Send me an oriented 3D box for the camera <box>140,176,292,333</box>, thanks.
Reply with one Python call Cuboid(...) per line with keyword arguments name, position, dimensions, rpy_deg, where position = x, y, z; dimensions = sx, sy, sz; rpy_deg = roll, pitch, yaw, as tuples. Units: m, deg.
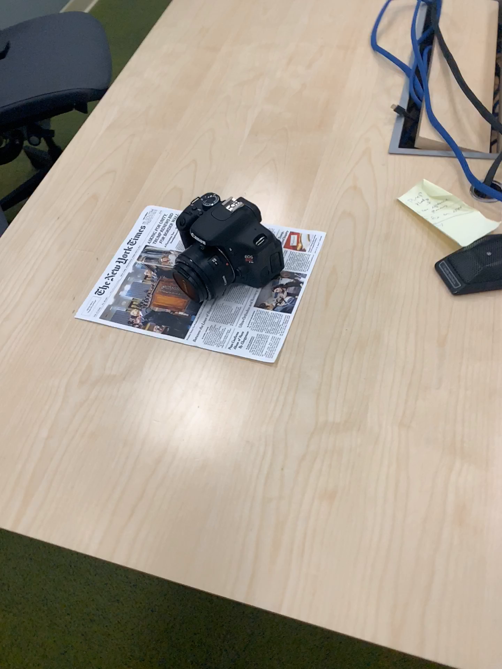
Cuboid(name="camera", position=(-0.040, -0.102, 0.644), dimensions=(0.121, 0.100, 0.125), rpy_deg=(-40, 58, -17))
